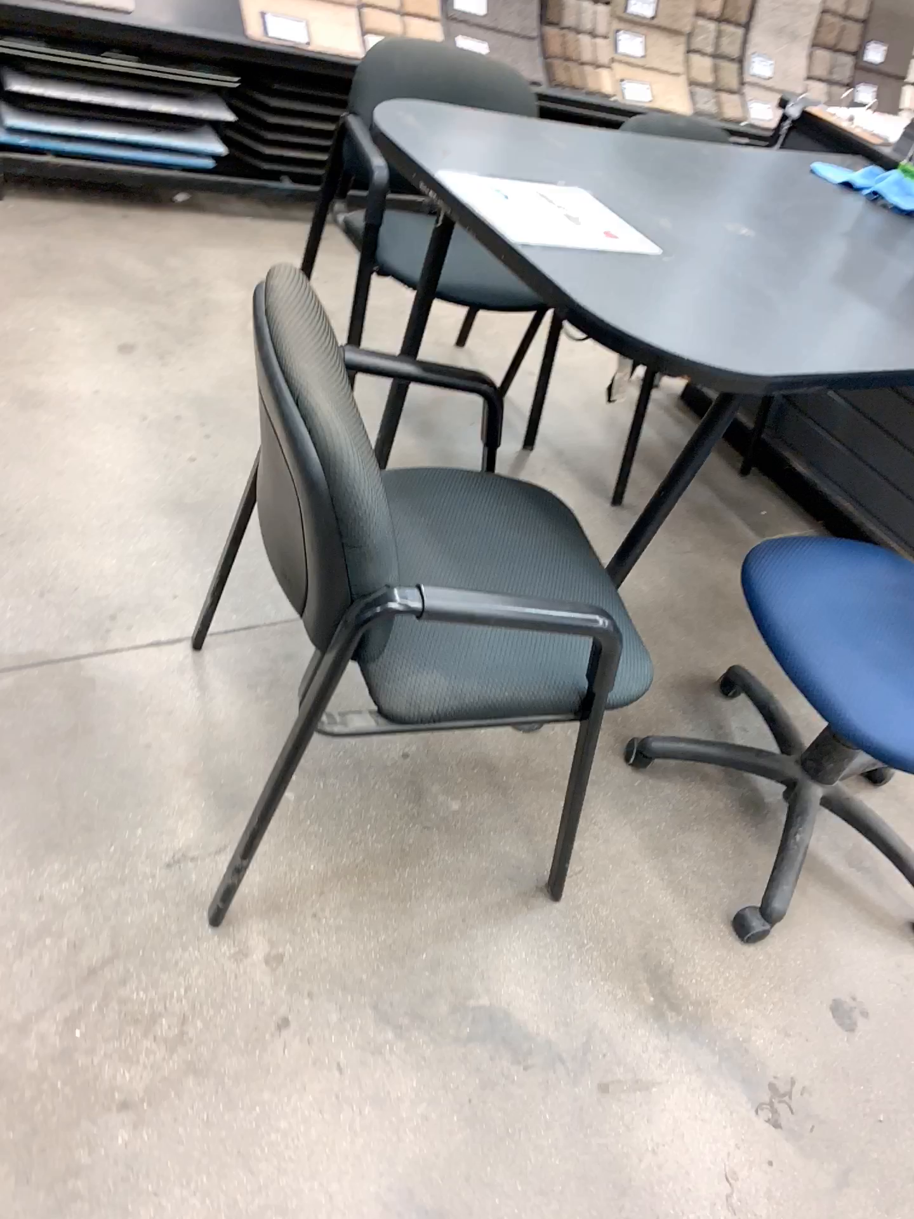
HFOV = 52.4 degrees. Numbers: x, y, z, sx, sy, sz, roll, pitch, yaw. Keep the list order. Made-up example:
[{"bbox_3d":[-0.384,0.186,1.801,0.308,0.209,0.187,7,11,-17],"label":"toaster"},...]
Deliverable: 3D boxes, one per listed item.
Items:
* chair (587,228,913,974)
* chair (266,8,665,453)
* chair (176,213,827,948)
[{"bbox_3d":[0.800,0.027,1.511,0.716,0.917,0.646,2,43,-21],"label":"chair"},{"bbox_3d":[-0.042,-0.891,2.298,0.637,0.777,0.585,-2,45,-26],"label":"chair"},{"bbox_3d":[-0.055,-0.017,1.323,0.585,0.750,0.607,2,43,-21],"label":"chair"}]
